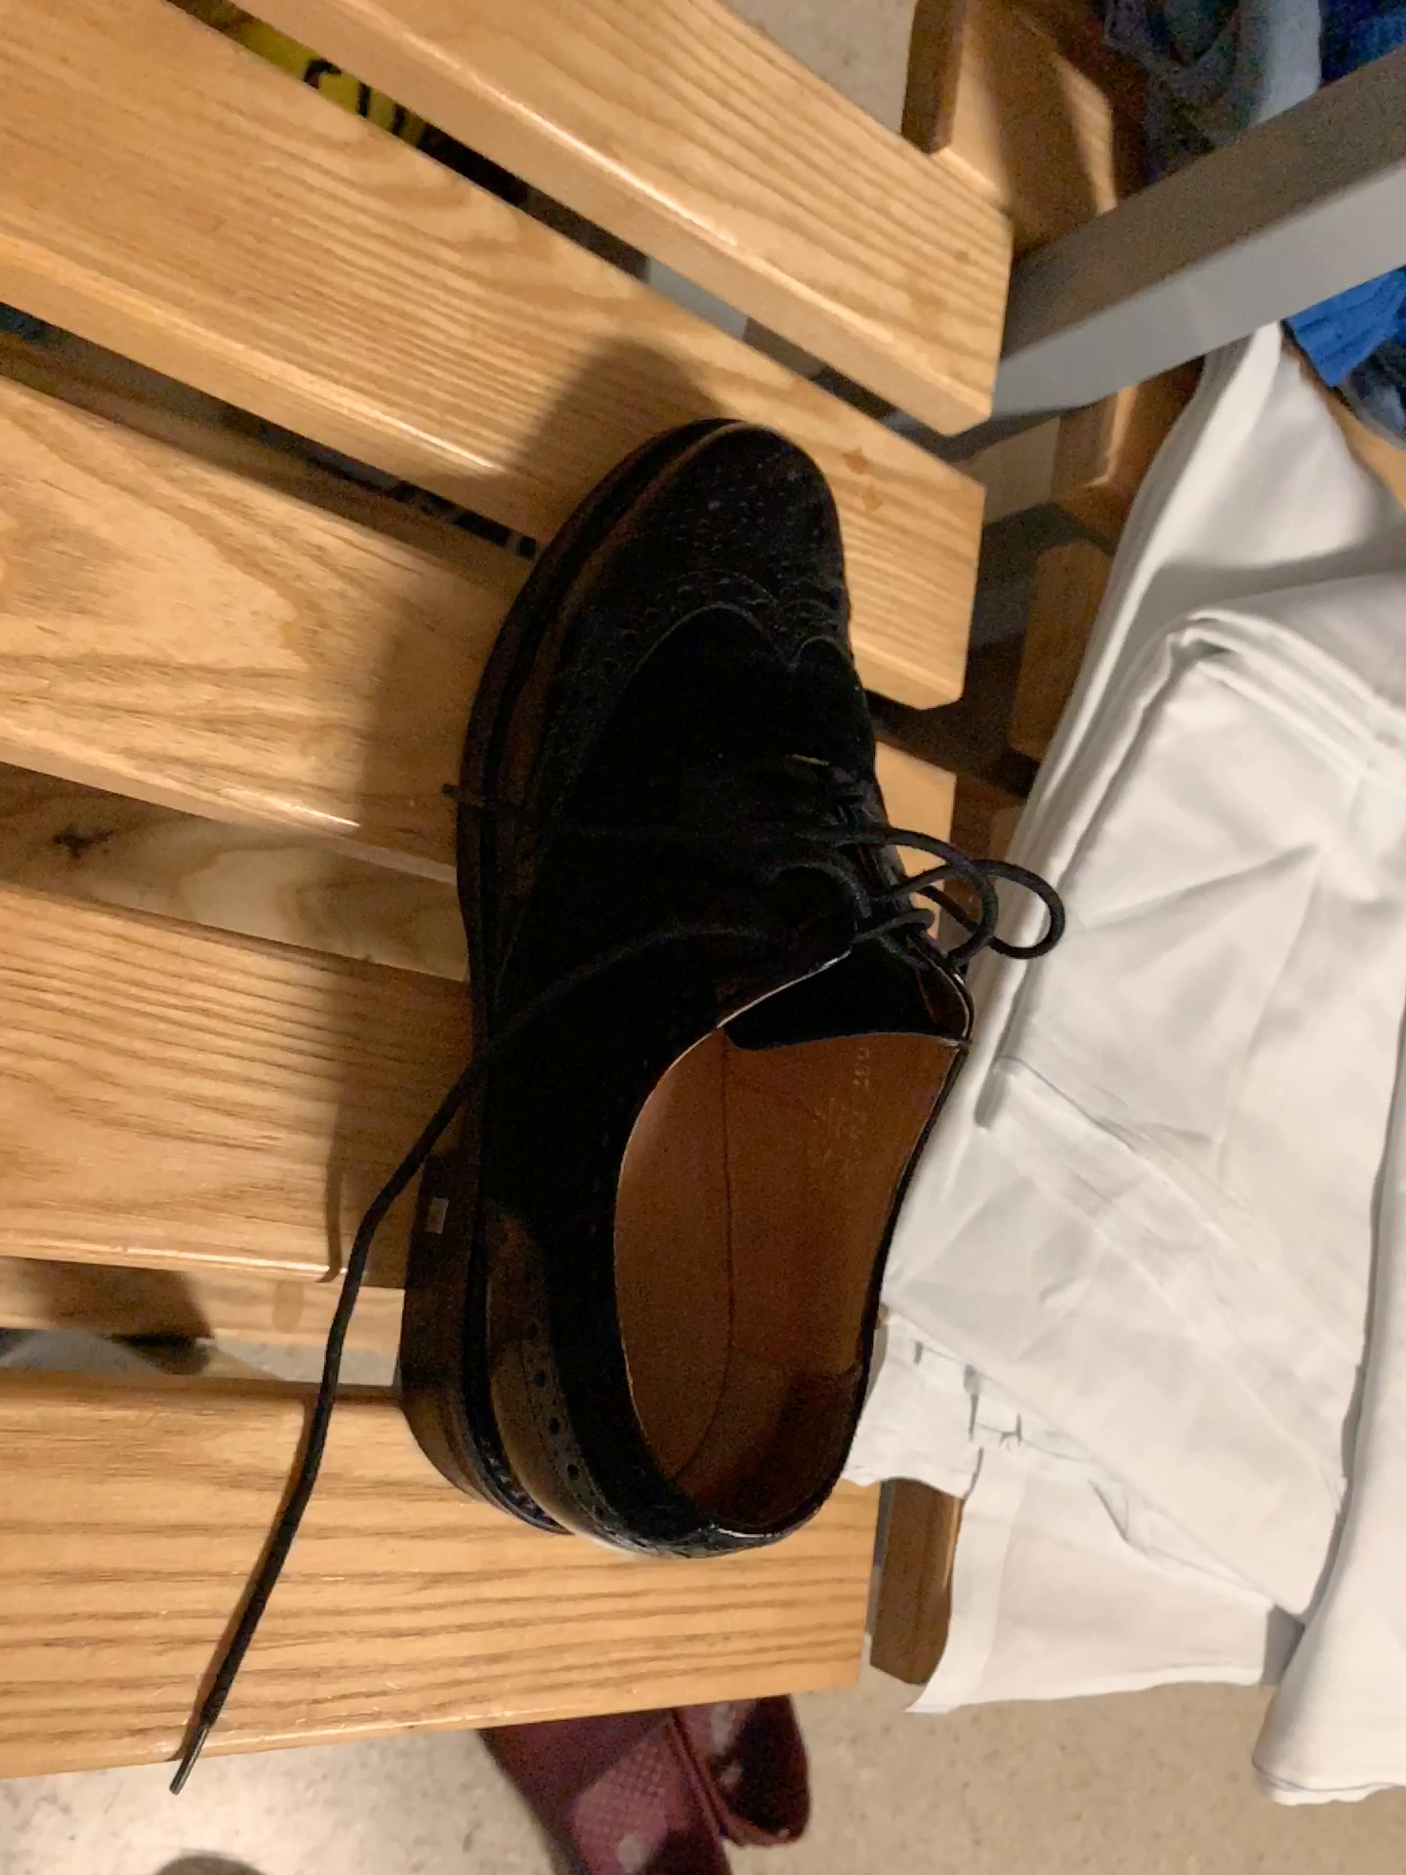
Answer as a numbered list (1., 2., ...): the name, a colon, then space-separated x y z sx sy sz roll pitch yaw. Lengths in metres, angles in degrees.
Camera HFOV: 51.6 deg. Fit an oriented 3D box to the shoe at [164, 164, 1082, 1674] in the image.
1. shoe: -0.010 -0.001 0.296 0.100 0.095 0.251 21 74 -34
